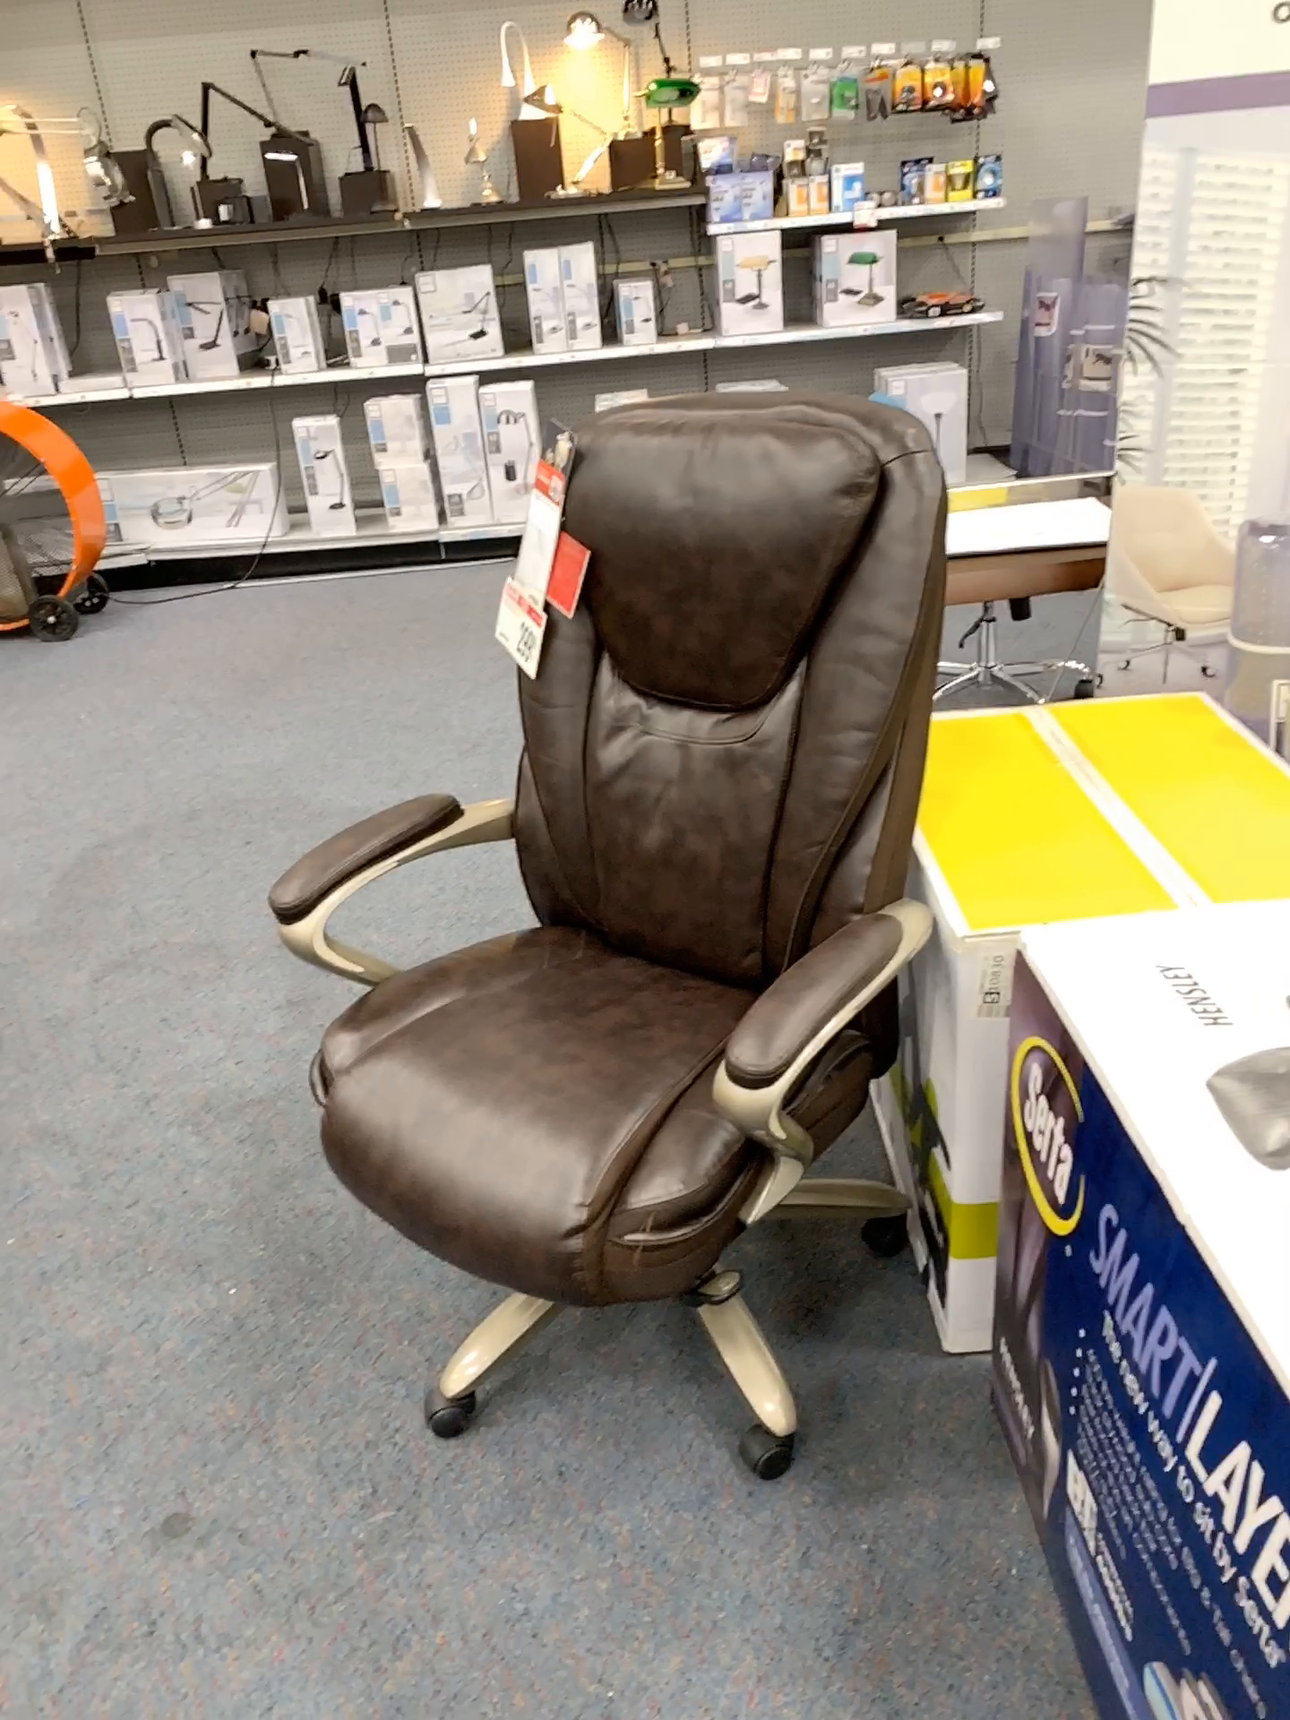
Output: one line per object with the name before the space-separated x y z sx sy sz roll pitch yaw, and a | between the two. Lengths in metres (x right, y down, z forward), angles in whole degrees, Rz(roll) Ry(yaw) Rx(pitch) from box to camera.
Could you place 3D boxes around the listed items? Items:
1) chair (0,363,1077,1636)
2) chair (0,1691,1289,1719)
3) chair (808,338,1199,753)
chair | -0.057 0.047 1.613 0.783 1.104 0.846 17 35 37
chair | 0.158 0.808 0.211 0.754 0.995 0.705 -4 27 3
chair | 0.873 -0.853 3.474 0.824 0.856 0.795 -2 27 6
